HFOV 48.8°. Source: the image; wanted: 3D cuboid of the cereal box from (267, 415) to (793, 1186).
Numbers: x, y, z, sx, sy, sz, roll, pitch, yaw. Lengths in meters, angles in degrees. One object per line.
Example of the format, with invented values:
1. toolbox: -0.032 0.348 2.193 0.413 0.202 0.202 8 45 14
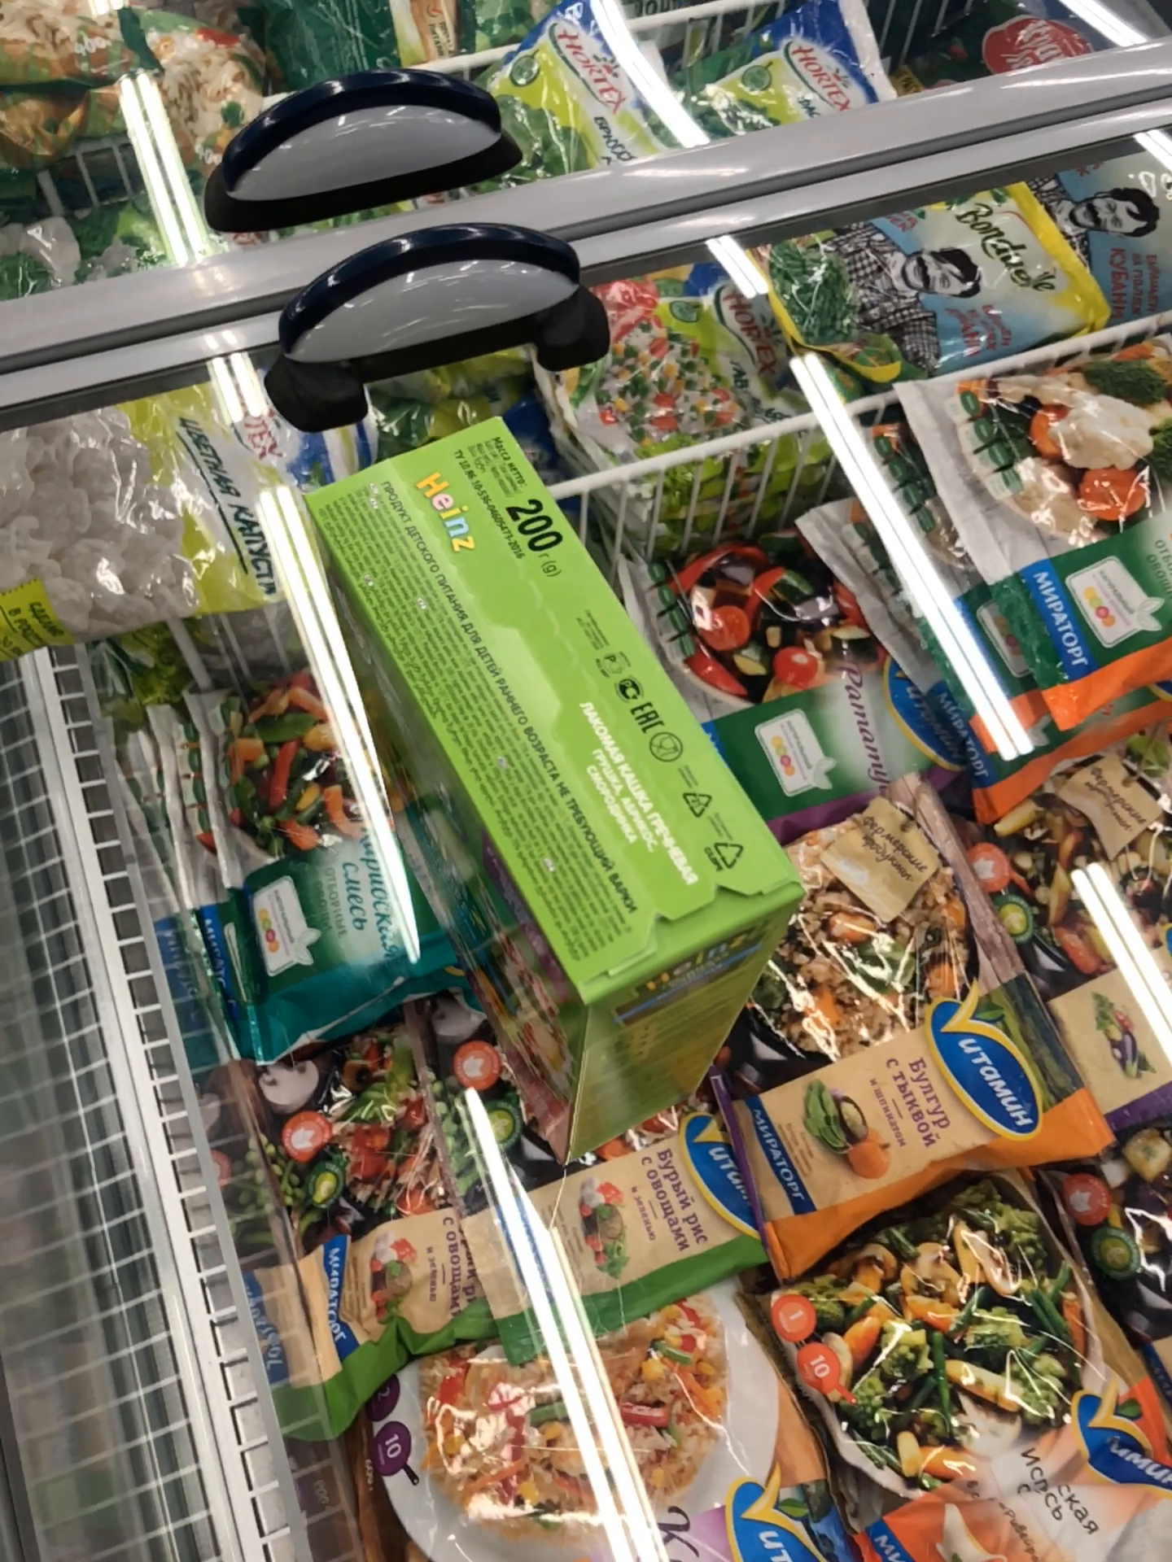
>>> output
1. cereal box: -0.019 0.024 0.347 0.050 0.199 0.130 -26 69 -14
